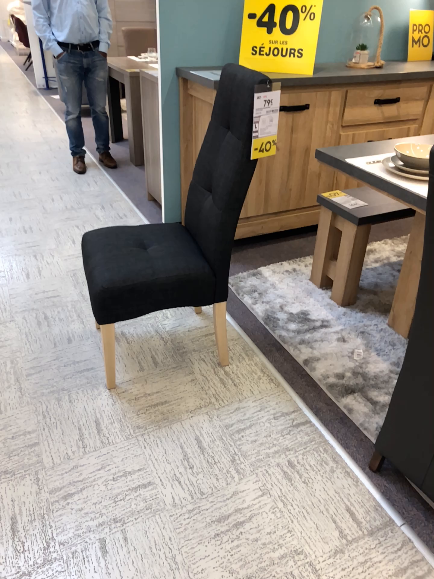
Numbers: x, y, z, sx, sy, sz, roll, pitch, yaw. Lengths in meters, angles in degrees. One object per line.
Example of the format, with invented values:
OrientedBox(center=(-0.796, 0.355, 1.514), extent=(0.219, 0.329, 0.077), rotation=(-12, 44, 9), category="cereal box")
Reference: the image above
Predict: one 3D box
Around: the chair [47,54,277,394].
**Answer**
OrientedBox(center=(-0.201, -0.239, 1.708), extent=(0.601, 1.044, 0.482), rotation=(-9, 33, -17), category="chair")
